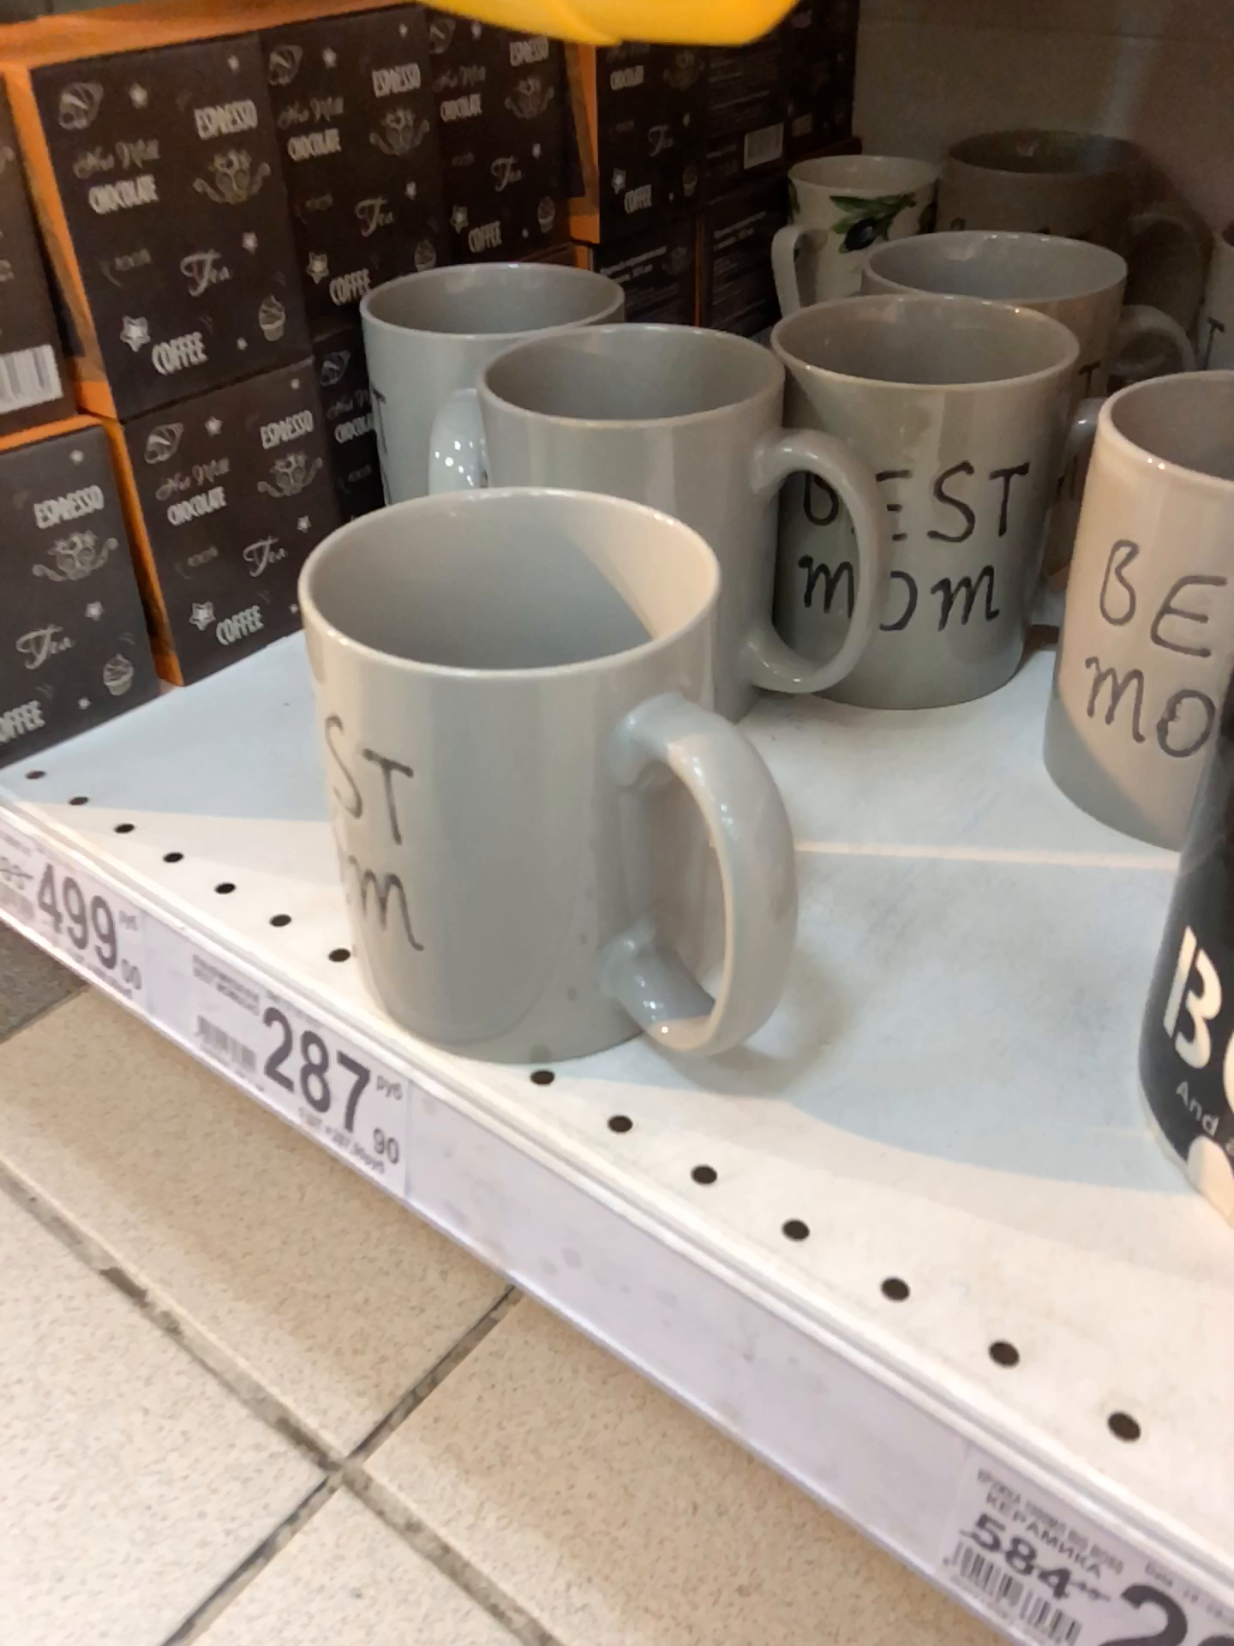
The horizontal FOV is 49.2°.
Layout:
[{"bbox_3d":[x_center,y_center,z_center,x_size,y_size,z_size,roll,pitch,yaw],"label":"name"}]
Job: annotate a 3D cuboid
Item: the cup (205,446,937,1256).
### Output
[{"bbox_3d":[-0.017,-0.006,0.329,0.101,0.121,0.143,-19,37,-28],"label":"cup"}]
